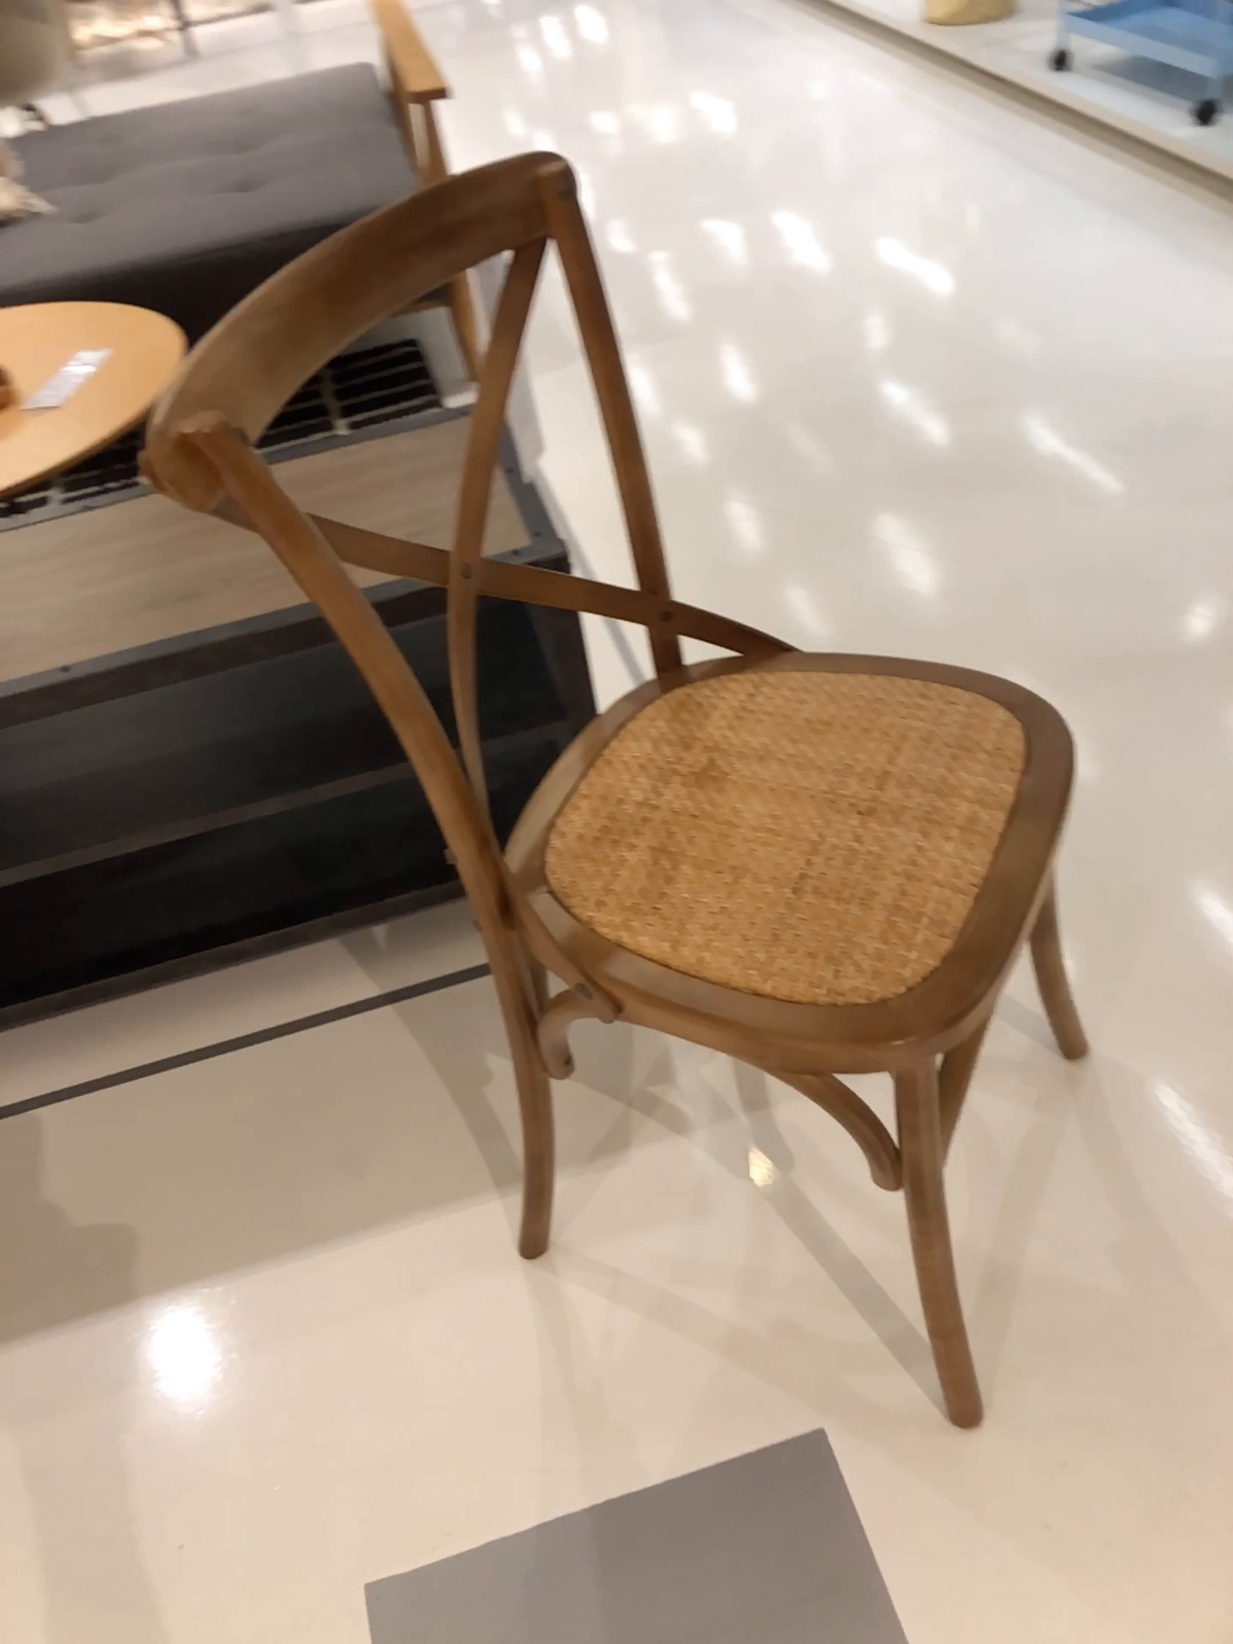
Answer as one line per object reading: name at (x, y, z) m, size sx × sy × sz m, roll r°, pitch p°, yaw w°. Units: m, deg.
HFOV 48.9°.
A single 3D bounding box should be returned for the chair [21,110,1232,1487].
chair at (0.094, -0.011, 1.074) m, size 0.571 × 0.863 × 0.503 m, roll 12°, pitch 46°, yaw 24°
